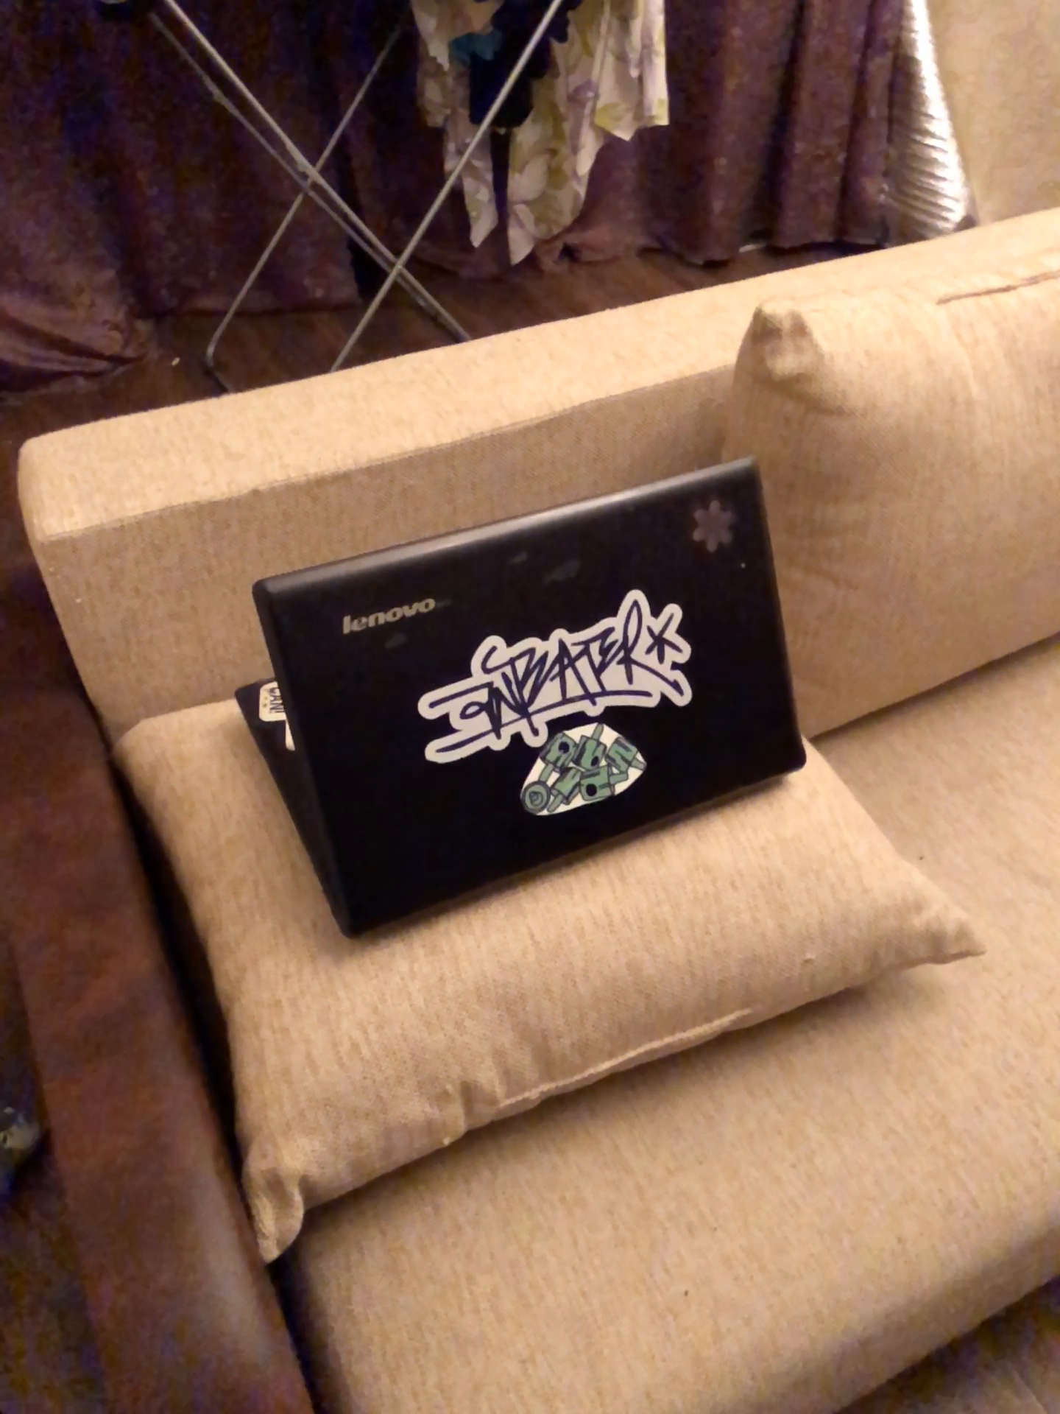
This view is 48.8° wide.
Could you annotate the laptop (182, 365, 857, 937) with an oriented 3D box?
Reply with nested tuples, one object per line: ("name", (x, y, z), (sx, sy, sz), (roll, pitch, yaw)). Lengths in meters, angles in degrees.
("laptop", (-0.009, -0.063, 0.920), (0.413, 0.222, 0.268), (-18, 50, -22))
